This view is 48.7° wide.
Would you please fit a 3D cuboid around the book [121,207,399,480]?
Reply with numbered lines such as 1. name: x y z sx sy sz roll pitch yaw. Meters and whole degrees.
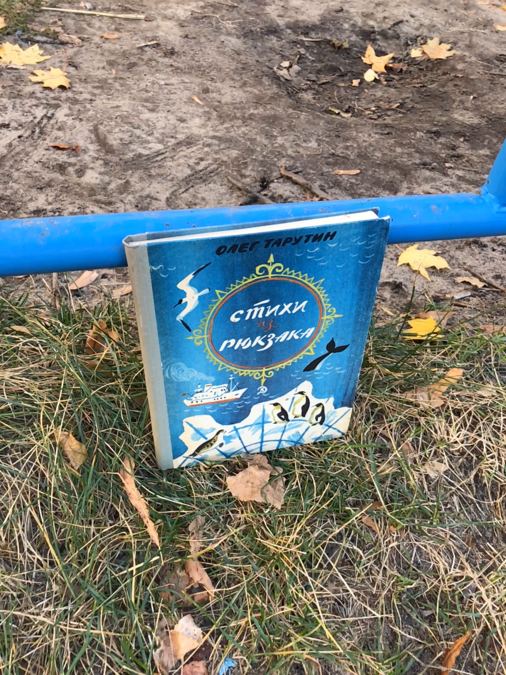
1. book: 0.002 0.012 0.418 0.179 0.209 0.023 -8 38 -16
